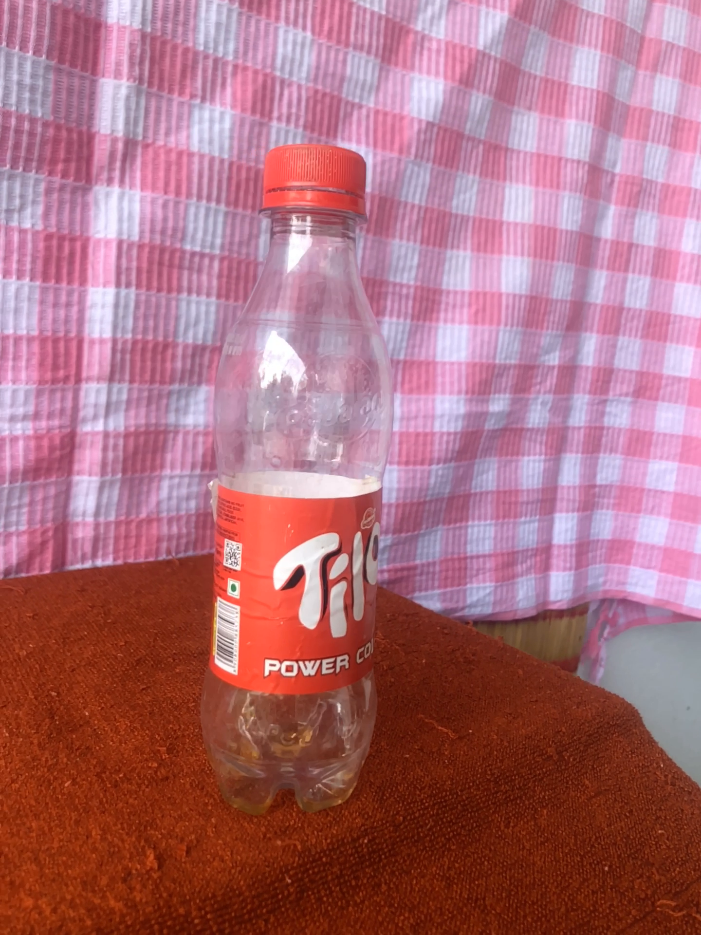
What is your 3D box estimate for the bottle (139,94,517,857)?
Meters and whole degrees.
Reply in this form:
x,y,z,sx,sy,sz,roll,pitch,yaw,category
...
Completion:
x,y,z,sx,sy,sz,roll,pitch,yaw,category
-0.010,0.002,0.230,0.060,0.190,0.060,9,10,-2,bottle
